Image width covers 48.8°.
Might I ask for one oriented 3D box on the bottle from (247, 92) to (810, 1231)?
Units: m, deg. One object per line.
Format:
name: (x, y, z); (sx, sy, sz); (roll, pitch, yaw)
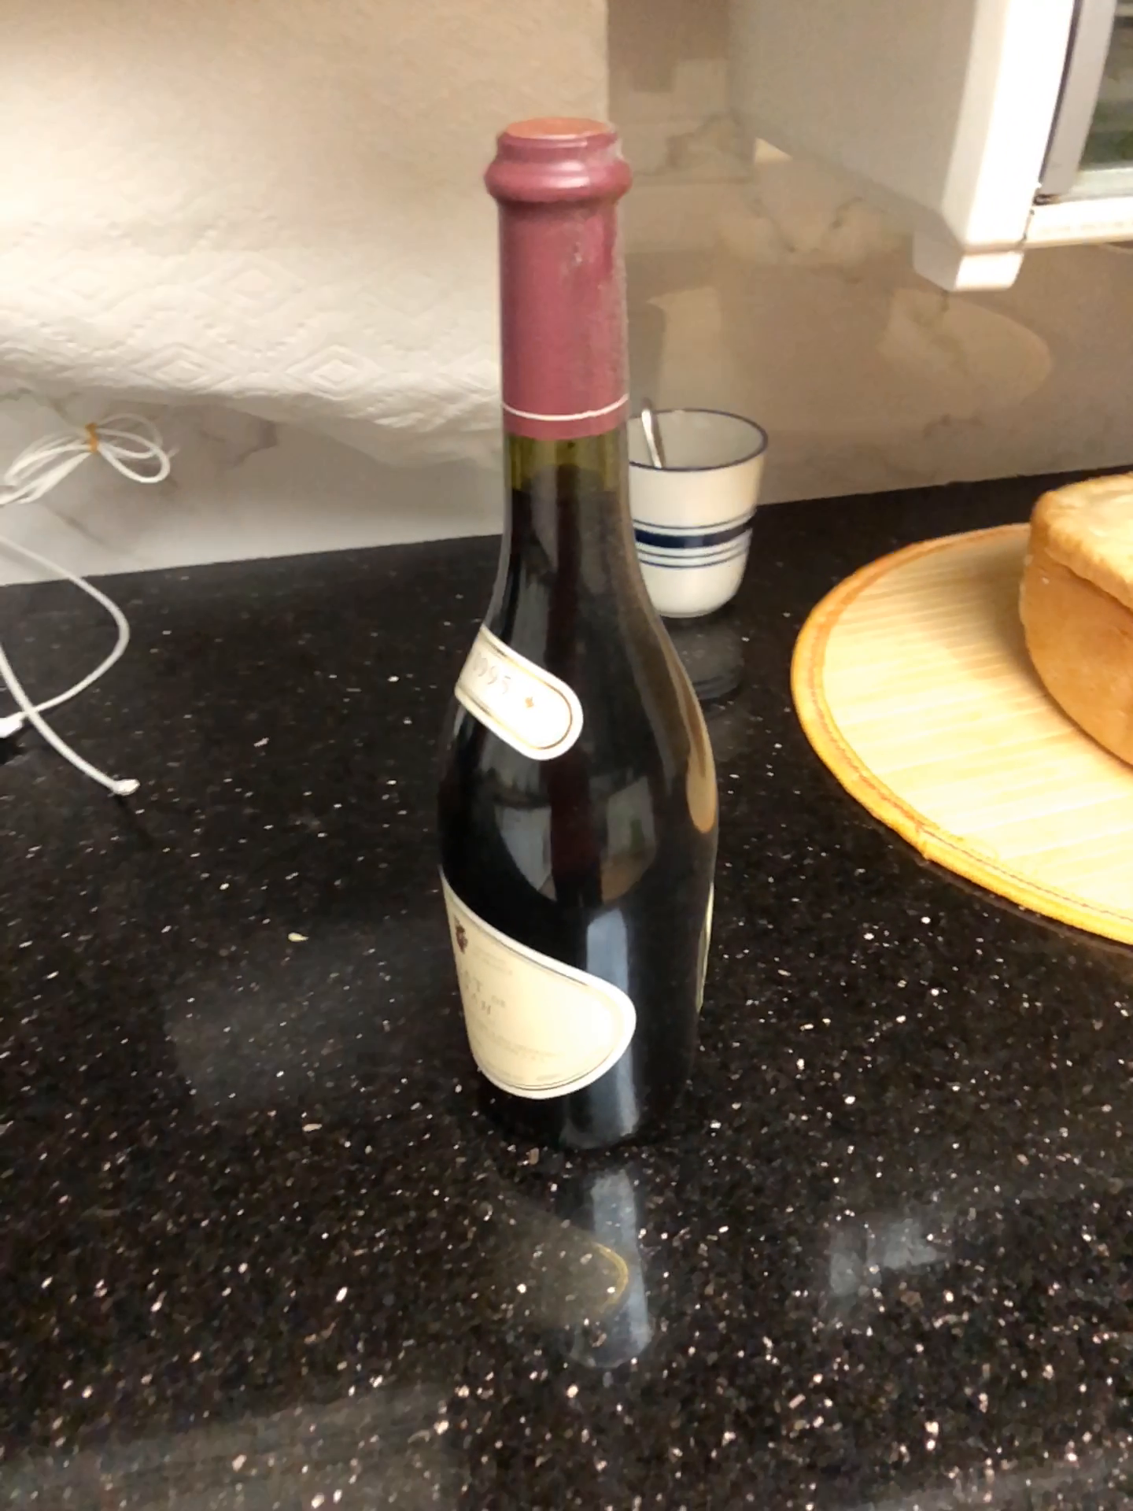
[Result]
bottle: (-0.006, -0.010, 0.363); (0.090, 0.308, 0.090); (-2, 35, 1)
